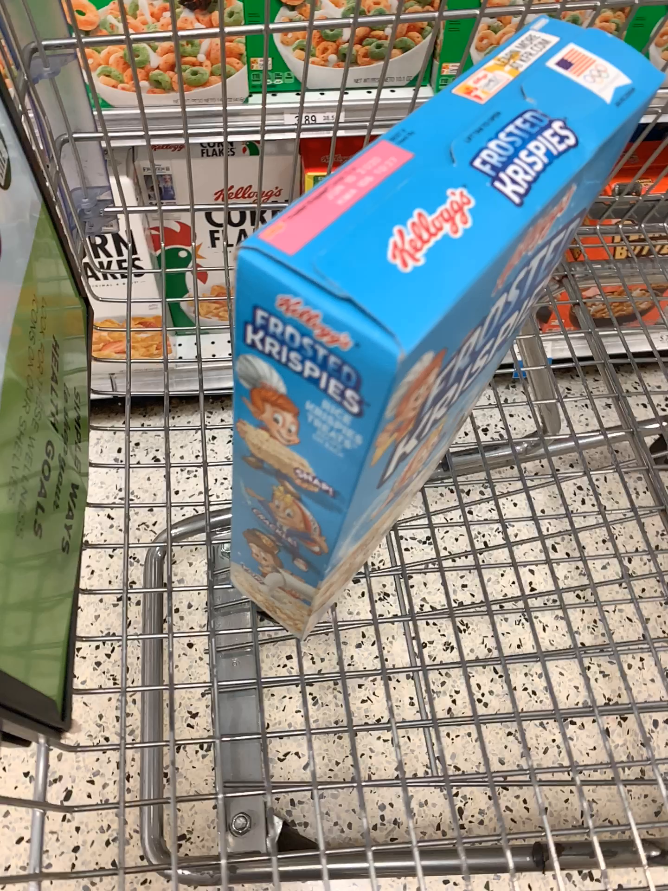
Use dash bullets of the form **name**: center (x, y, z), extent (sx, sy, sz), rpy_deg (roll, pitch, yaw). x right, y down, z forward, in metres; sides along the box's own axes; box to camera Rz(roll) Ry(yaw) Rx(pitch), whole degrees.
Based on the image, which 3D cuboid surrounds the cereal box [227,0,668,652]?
- **cereal box**: center (0.037, -0.025, 0.355), extent (0.060, 0.318, 0.201), rpy_deg (38, 62, 11)
